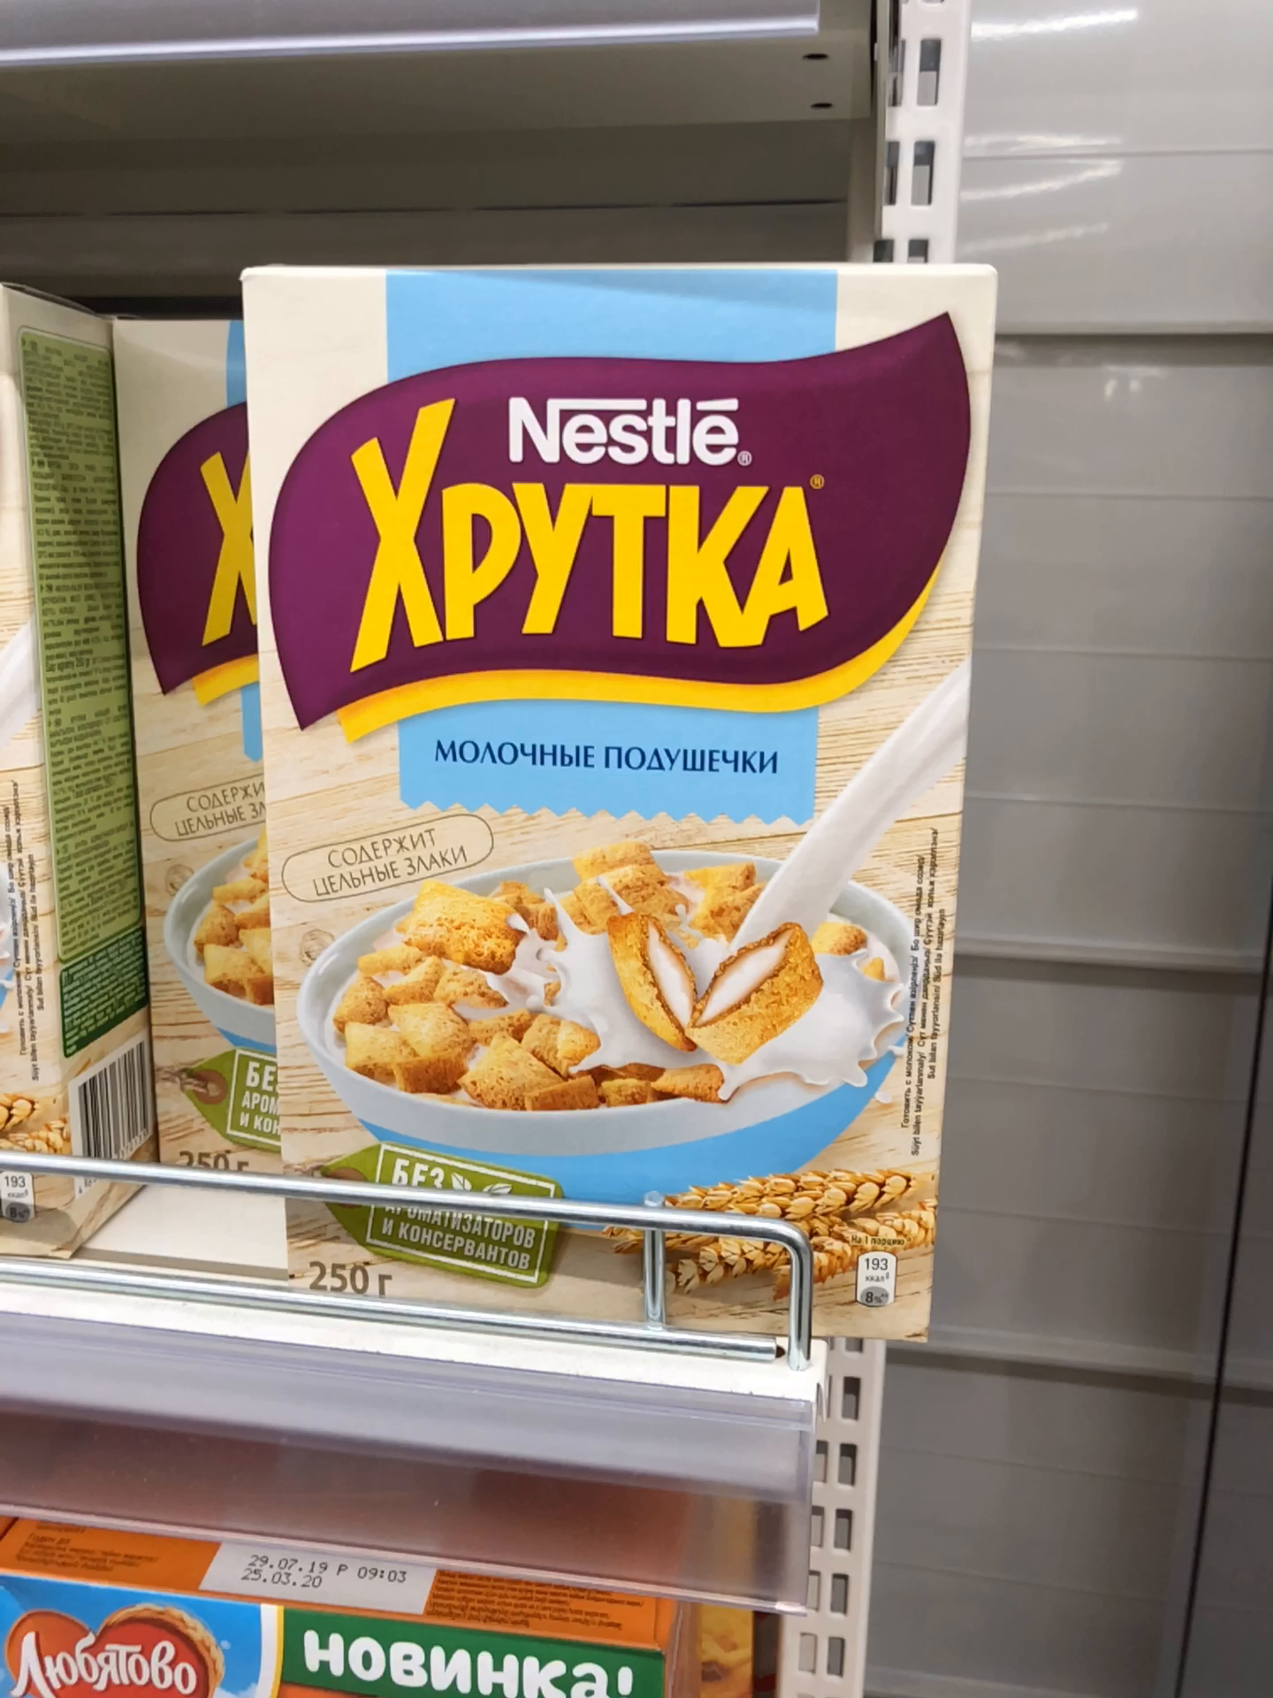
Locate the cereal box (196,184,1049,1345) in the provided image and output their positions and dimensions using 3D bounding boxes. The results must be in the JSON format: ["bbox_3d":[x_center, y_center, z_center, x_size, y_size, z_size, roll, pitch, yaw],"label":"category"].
[{"bbox_3d":[-0.004,-0.015,0.296,0.150,0.219,0.050,2,13,6],"label":"cereal box"}]
